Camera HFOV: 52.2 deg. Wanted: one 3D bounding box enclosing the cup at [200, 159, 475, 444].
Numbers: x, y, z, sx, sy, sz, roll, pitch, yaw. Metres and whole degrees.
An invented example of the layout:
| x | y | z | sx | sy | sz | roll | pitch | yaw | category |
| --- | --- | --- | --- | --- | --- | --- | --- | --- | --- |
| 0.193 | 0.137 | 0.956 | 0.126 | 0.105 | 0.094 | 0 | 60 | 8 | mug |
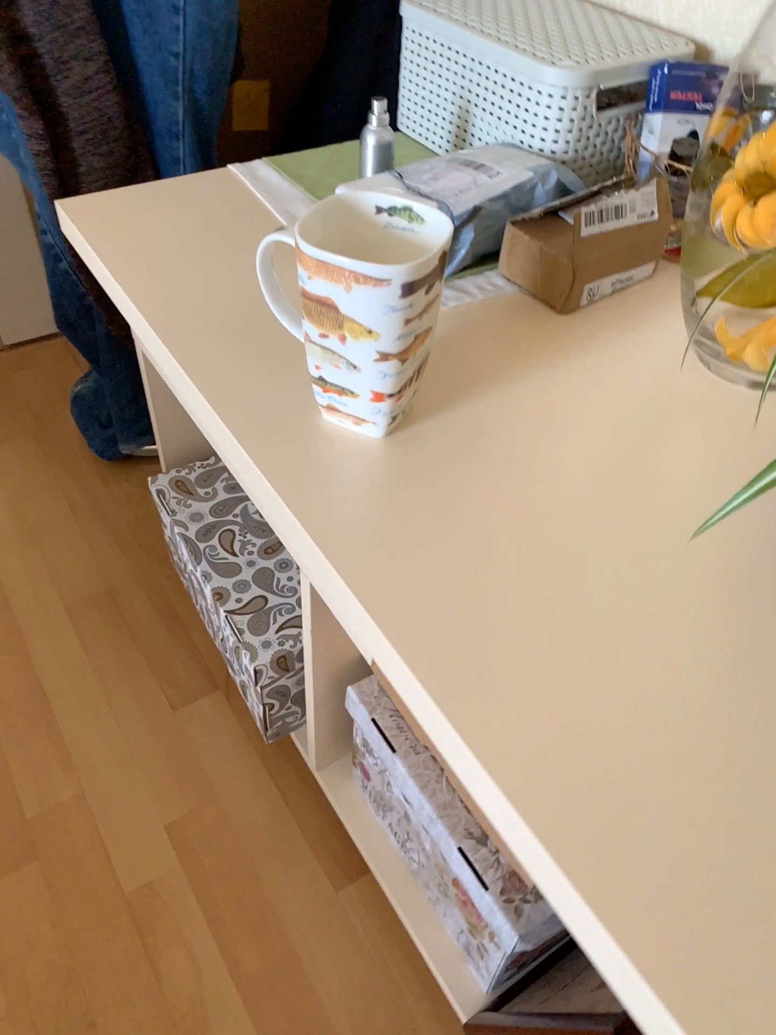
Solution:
| x | y | z | sx | sy | sz | roll | pitch | yaw | category |
| --- | --- | --- | --- | --- | --- | --- | --- | --- | --- |
| -0.032 | -0.142 | 0.520 | 0.139 | 0.121 | 0.092 | 20 | 47 | 15 | cup |
